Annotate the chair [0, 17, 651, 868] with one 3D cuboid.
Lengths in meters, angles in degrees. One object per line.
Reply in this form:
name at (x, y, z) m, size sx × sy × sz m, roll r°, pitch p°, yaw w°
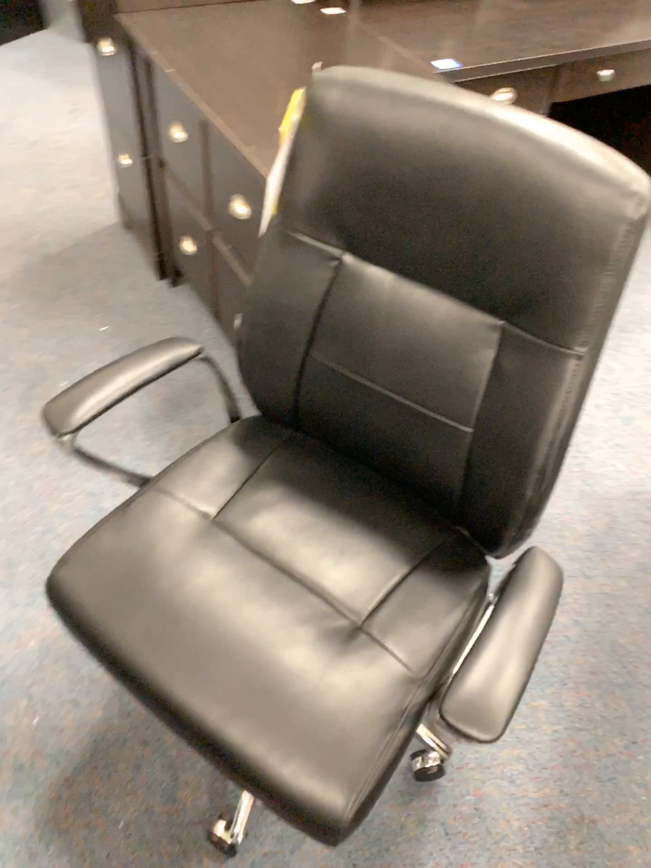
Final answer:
chair at (-0.016, 0.136, 0.938) m, size 0.665 × 0.997 × 0.719 m, roll 30°, pitch 53°, yaw 20°
